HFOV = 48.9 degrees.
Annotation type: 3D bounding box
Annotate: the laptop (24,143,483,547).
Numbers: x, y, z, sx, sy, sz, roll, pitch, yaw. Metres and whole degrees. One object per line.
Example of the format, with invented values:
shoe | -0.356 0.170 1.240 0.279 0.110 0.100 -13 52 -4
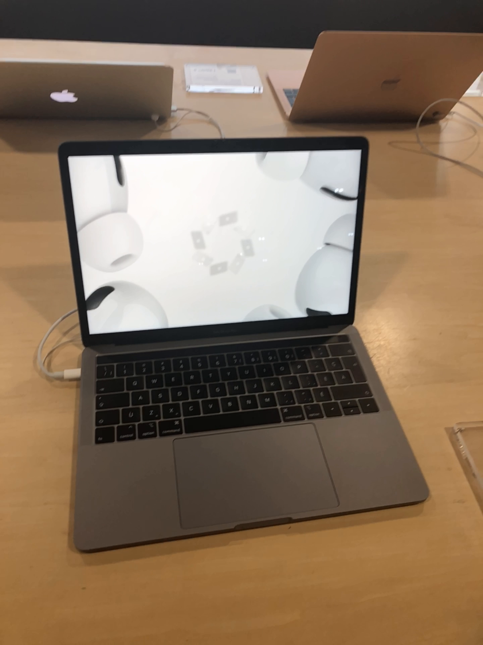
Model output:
laptop | -0.004 -0.004 0.472 0.296 0.181 0.296 -4 46 -11
